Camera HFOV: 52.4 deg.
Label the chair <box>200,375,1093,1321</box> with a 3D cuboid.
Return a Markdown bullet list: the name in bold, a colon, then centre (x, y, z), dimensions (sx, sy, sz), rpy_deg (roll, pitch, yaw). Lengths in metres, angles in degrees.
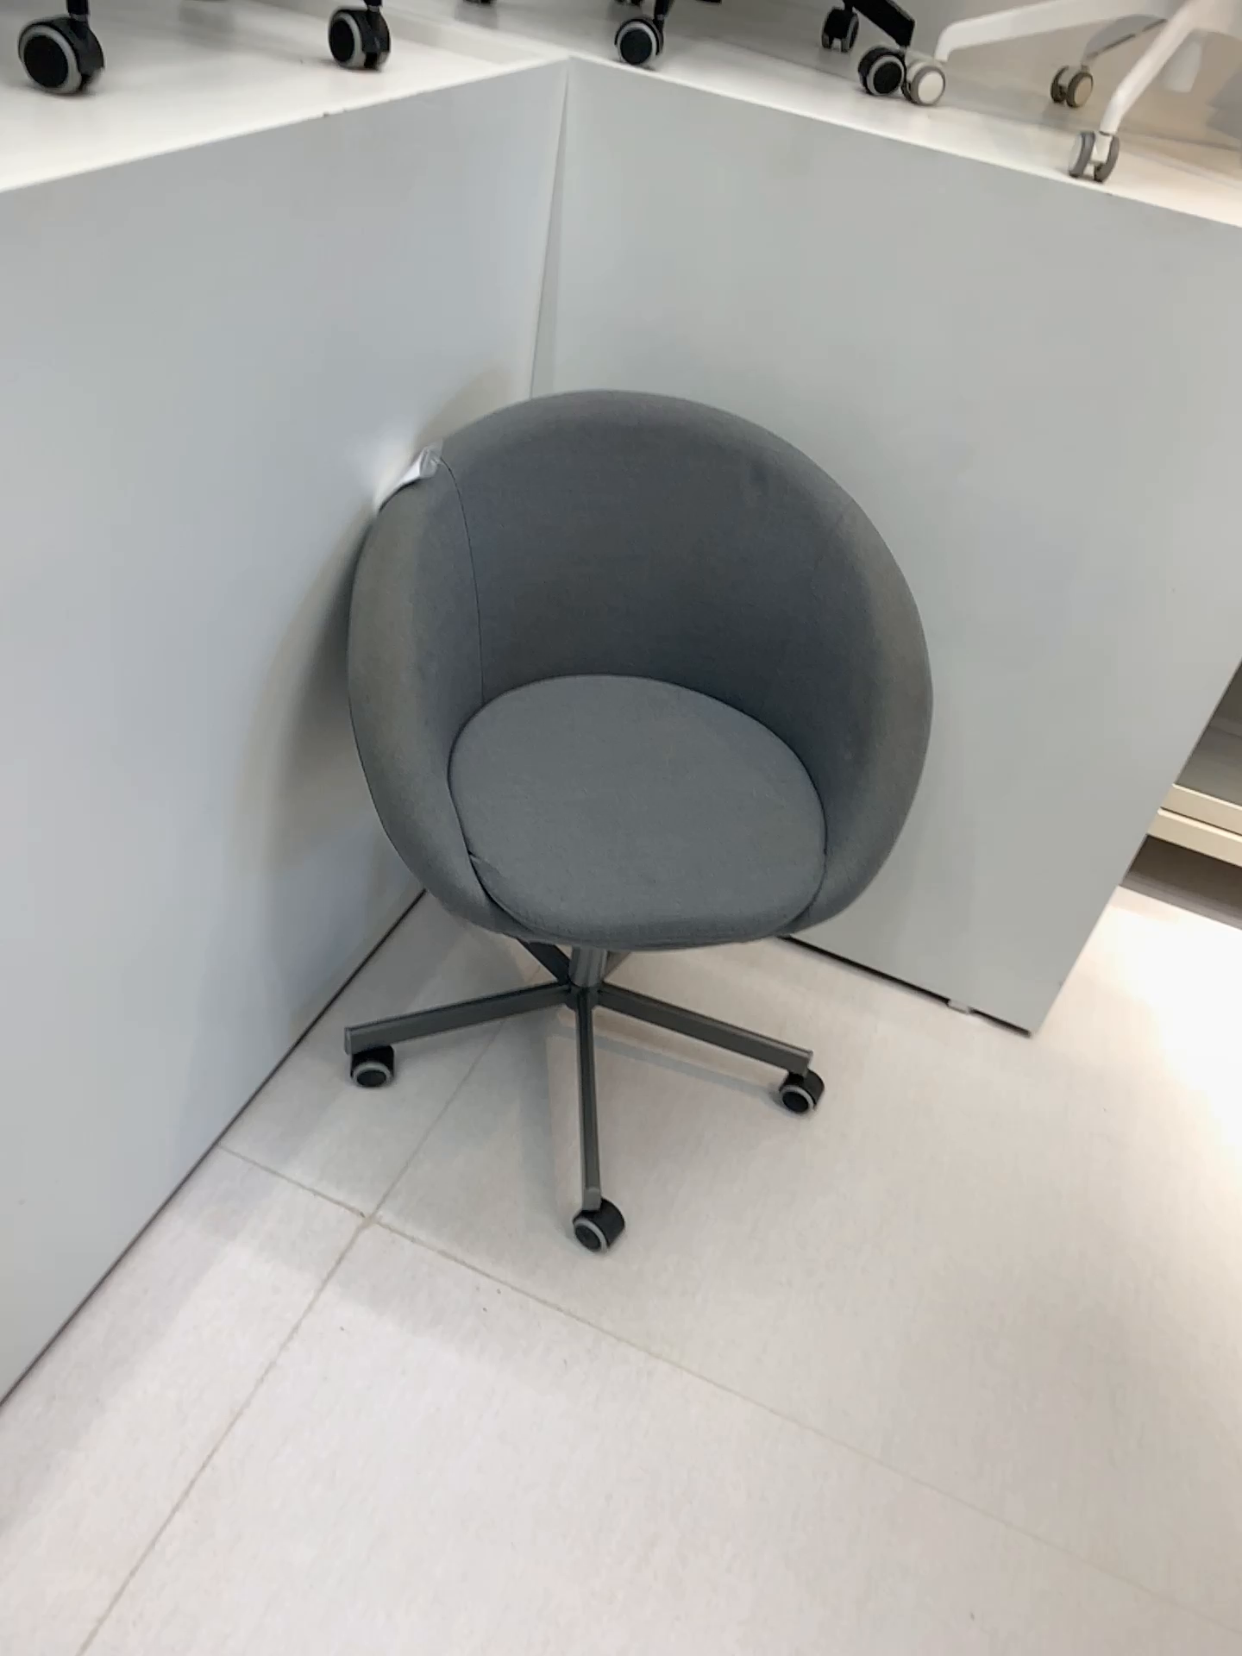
- **chair**: centre (-0.065, 0.031, 1.533), dimensions (0.730, 0.827, 0.713), rpy_deg (2, 40, -12)
